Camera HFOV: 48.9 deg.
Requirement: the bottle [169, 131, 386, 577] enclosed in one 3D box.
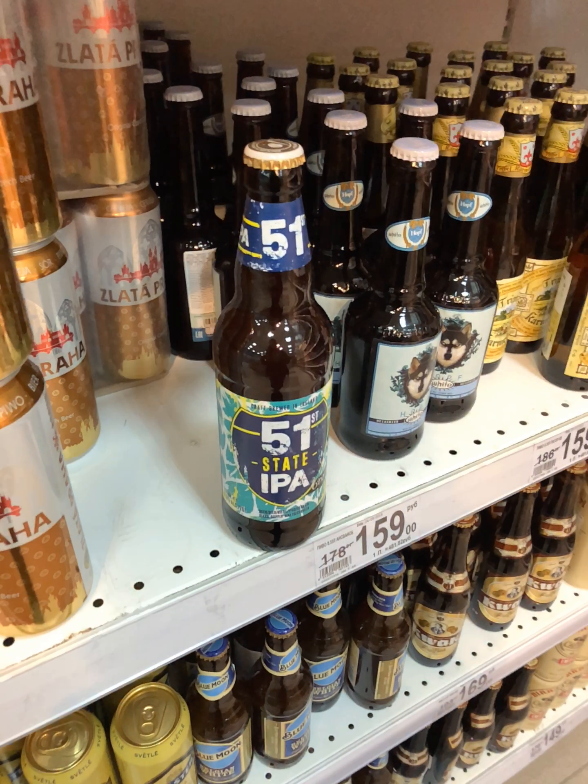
[{"bbox_3d":[-0.014,-0.011,0.366,0.080,0.239,0.070,-12,38,-19],"label":"bottle"}]
